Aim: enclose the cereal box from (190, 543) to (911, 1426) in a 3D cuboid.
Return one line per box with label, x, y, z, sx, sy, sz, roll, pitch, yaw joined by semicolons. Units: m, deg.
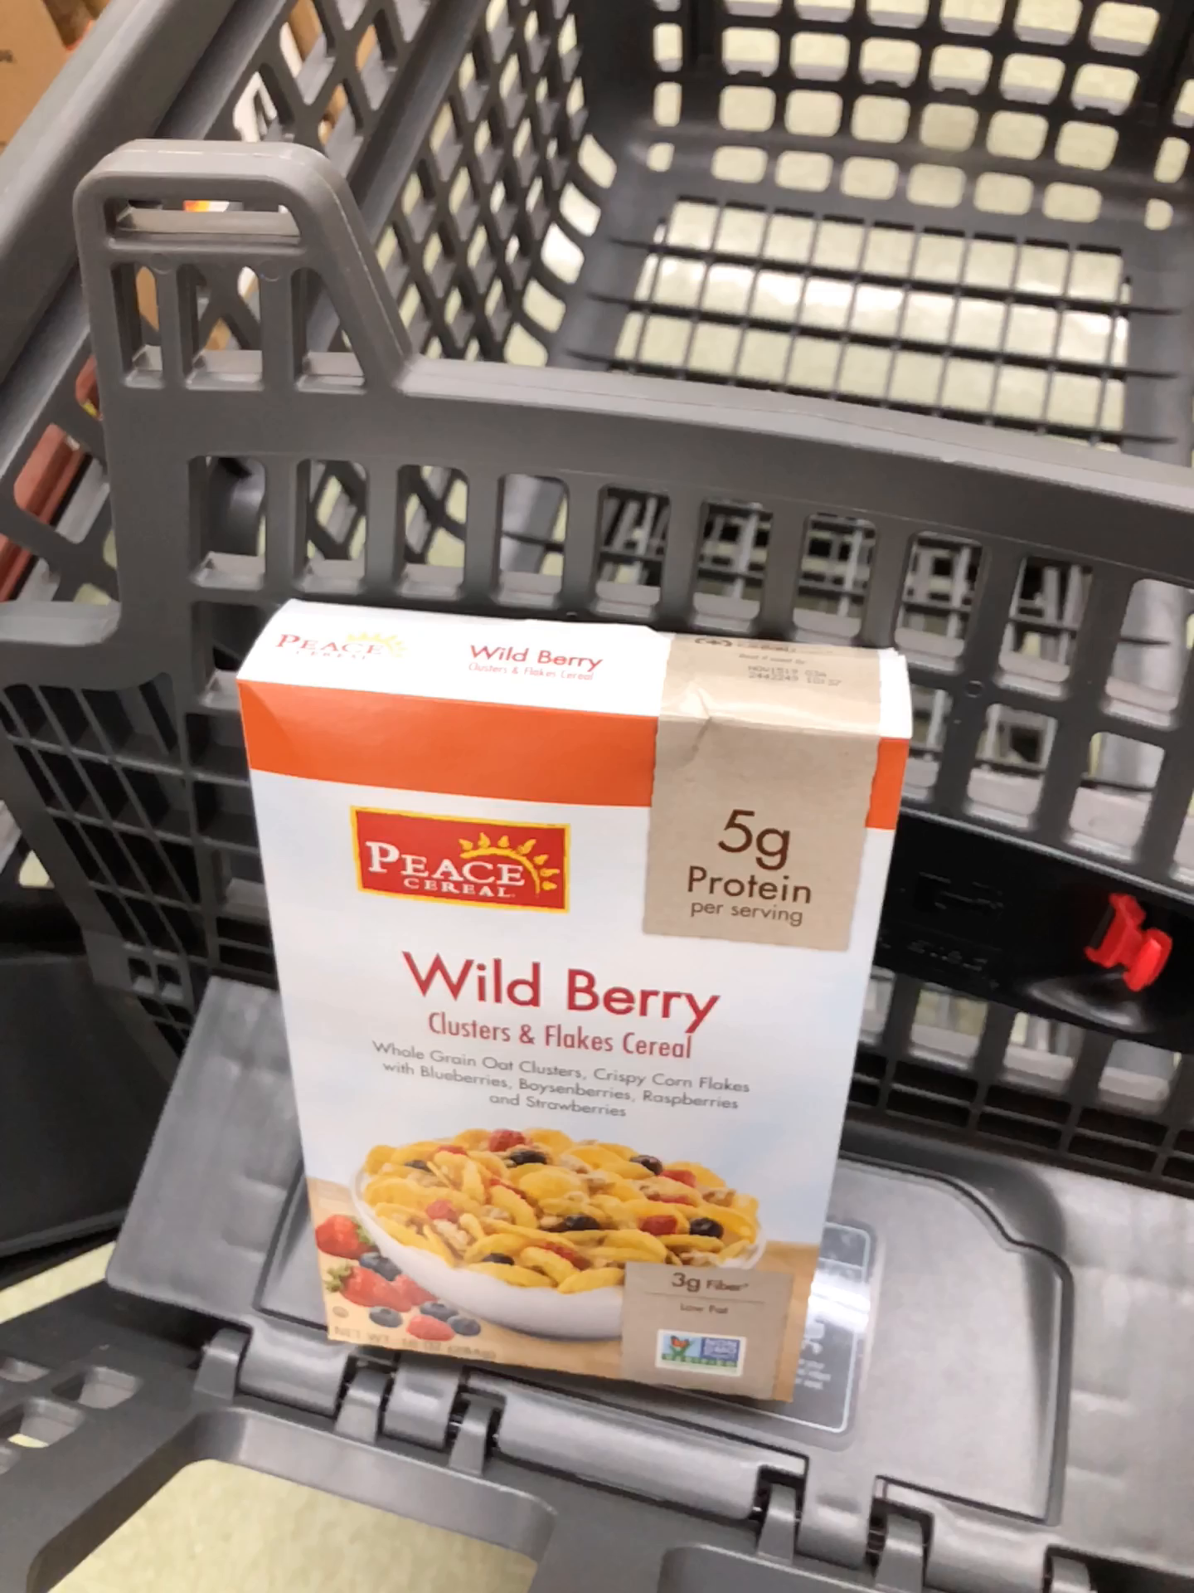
cereal box;-0.010;0.066;0.386;0.160;0.260;0.060;5;32;7
